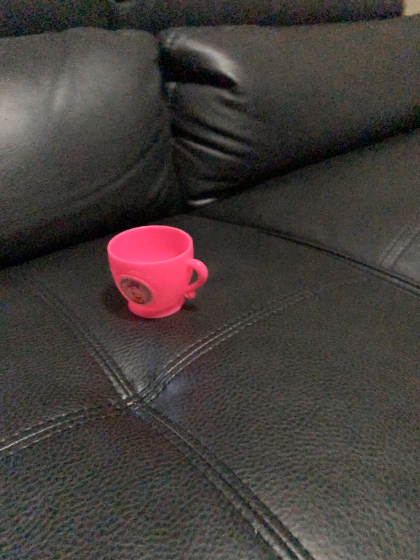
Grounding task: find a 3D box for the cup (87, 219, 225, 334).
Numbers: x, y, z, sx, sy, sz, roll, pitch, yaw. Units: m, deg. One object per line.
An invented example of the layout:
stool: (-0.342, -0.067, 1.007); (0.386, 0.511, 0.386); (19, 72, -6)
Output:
cup: (-0.036, -0.006, 0.314); (0.073, 0.047, 0.062); (12, 32, 24)
